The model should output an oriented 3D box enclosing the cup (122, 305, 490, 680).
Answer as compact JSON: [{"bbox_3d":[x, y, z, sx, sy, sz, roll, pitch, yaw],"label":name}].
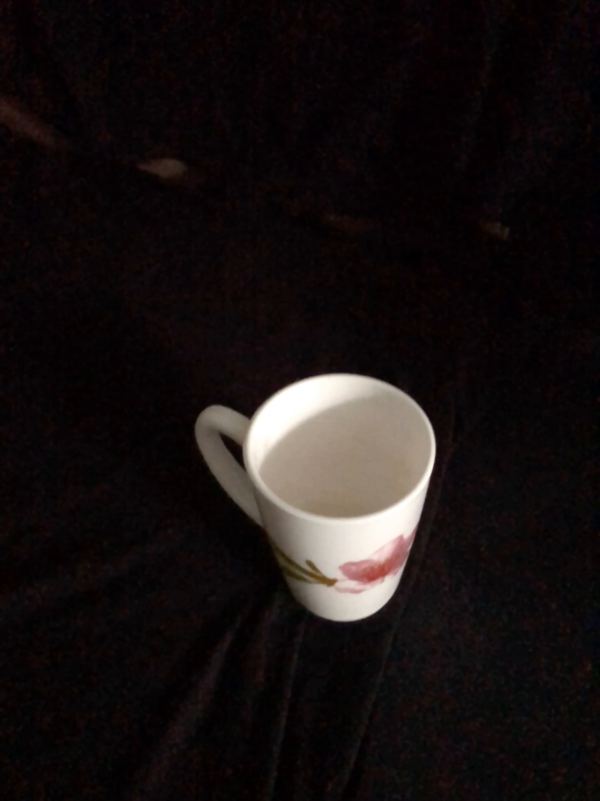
[{"bbox_3d":[0.004,0.048,0.323,0.125,0.130,0.090,20,55,14],"label":"cup"}]
